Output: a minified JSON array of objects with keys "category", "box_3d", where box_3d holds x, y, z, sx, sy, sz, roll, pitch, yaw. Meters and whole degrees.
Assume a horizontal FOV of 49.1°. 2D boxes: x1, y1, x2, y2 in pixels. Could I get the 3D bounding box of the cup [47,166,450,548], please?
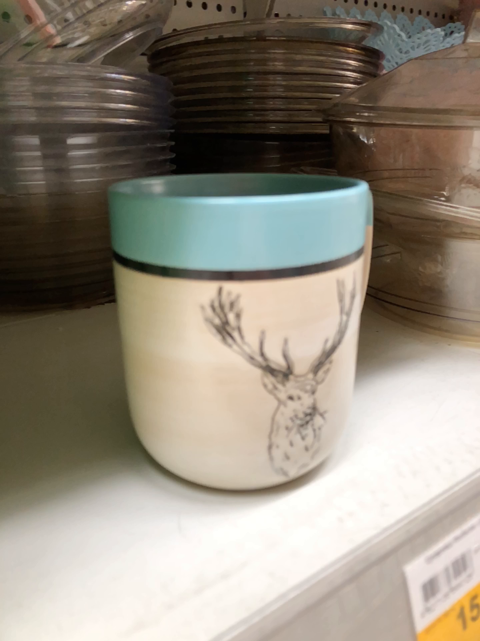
[{"category":"cup","box_3d":[0.008,-0.005,0.216,0.124,0.103,0.093,-19,26,-41]}]
